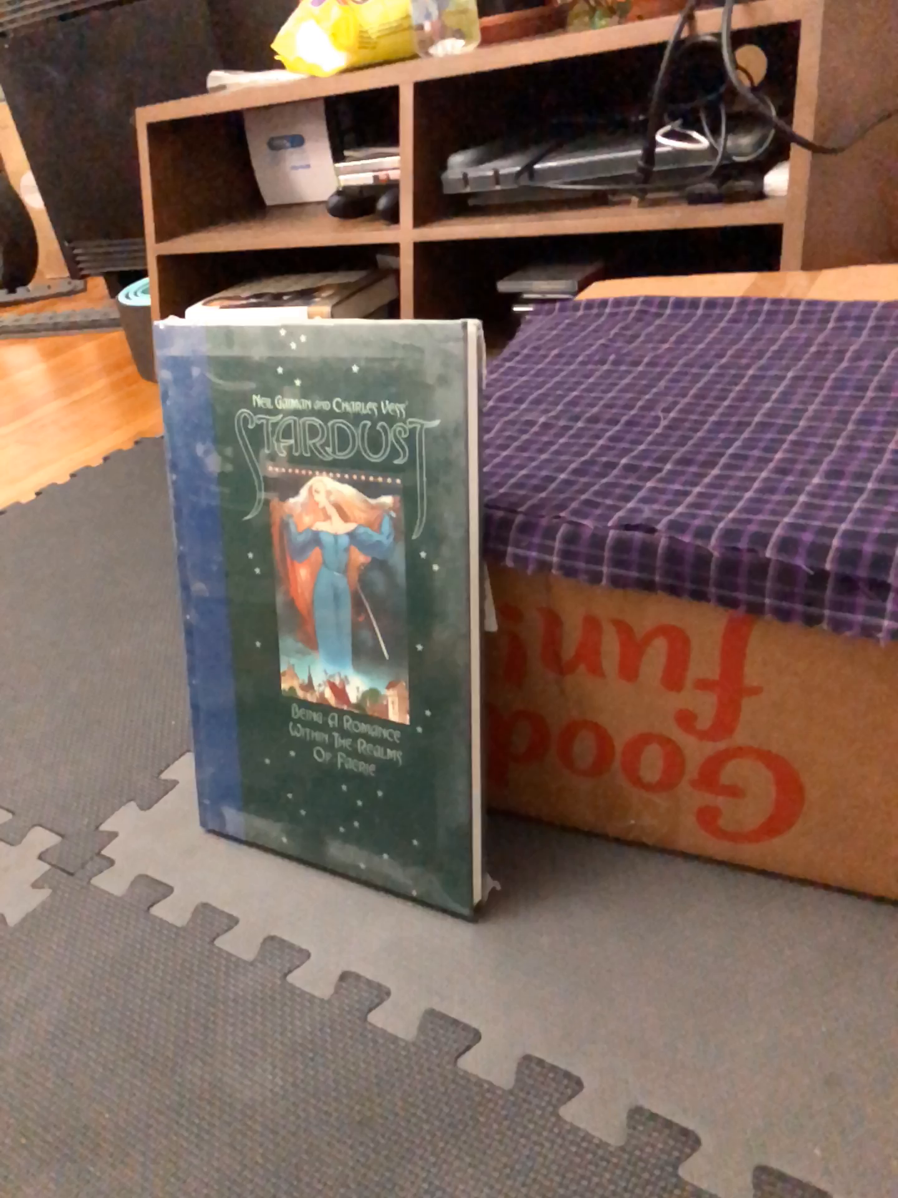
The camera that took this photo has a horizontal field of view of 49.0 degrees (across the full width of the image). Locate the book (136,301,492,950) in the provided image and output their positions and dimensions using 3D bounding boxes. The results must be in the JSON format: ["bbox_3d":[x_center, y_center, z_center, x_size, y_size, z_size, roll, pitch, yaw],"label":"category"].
[{"bbox_3d":[-0.075,0.012,0.543,0.210,0.329,0.020,8,17,31],"label":"book"}]
